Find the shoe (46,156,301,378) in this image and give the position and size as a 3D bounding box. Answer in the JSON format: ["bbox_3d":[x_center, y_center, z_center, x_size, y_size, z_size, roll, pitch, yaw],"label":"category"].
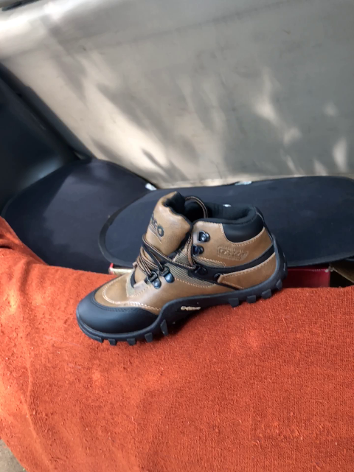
[{"bbox_3d":[-0.002,0.033,0.492,0.270,0.149,0.110,-23,33,-6],"label":"shoe"}]
